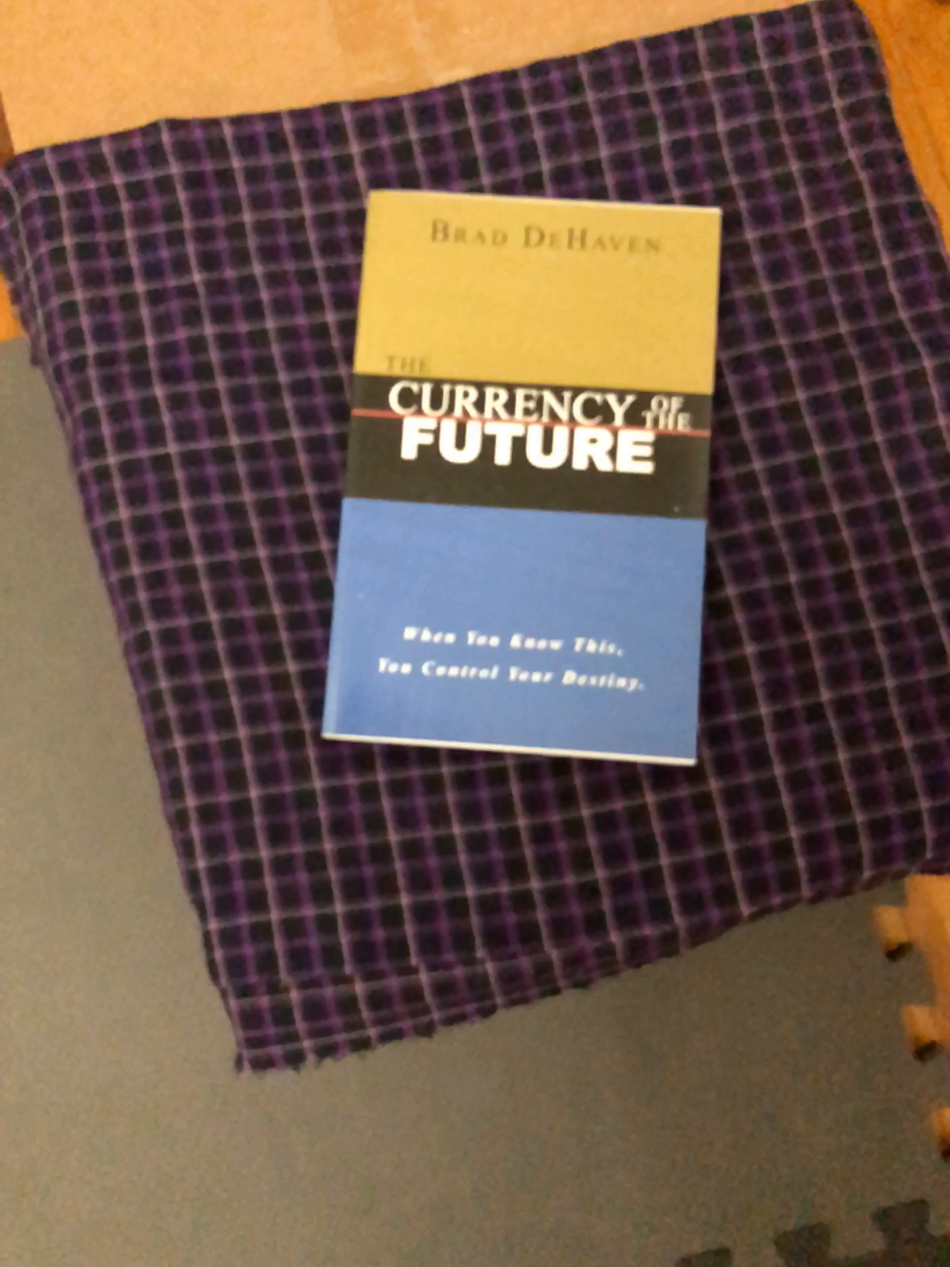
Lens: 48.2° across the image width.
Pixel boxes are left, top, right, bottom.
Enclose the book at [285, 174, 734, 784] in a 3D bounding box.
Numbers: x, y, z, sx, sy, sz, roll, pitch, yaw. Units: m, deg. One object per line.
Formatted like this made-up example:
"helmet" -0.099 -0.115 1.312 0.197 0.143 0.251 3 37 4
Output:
"book" 0.015 -0.060 0.400 0.150 0.020 0.220 4 83 2
